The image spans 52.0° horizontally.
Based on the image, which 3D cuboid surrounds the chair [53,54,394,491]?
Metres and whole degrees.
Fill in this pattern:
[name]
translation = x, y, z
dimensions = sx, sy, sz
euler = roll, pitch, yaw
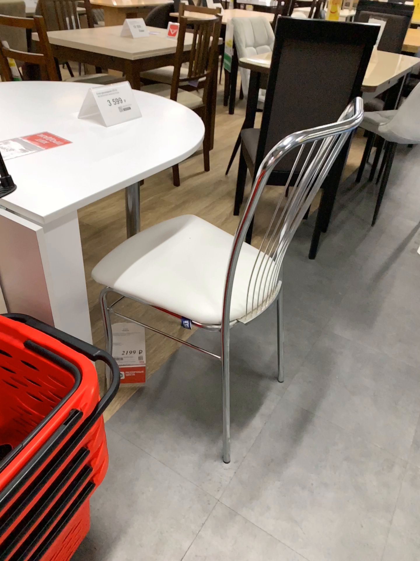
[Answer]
[chair]
translation = 0.019, -0.014, 1.166
dimensions = 0.550, 0.954, 0.452
euler = 23, 40, 23
